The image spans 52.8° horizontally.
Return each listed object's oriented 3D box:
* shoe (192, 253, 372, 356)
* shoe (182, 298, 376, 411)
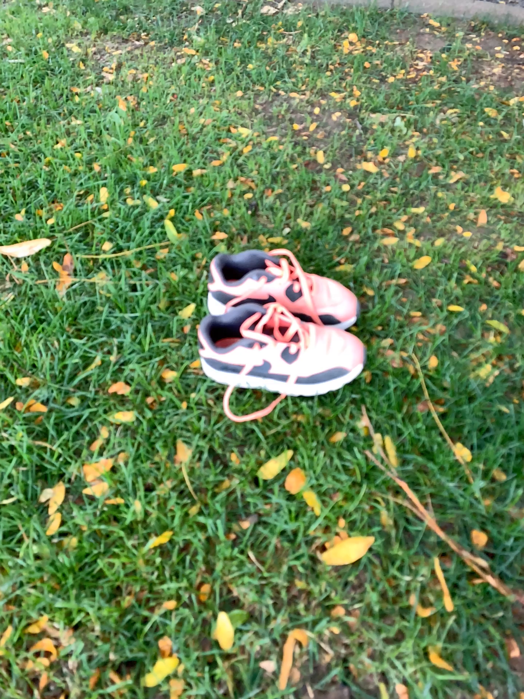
[{"bbox_3d":[0.027,-0.056,0.647,0.200,0.070,0.080,7,53,9],"label":"shoe"},{"bbox_3d":[0.021,0.004,0.601,0.200,0.070,0.080,7,53,9],"label":"shoe"}]
